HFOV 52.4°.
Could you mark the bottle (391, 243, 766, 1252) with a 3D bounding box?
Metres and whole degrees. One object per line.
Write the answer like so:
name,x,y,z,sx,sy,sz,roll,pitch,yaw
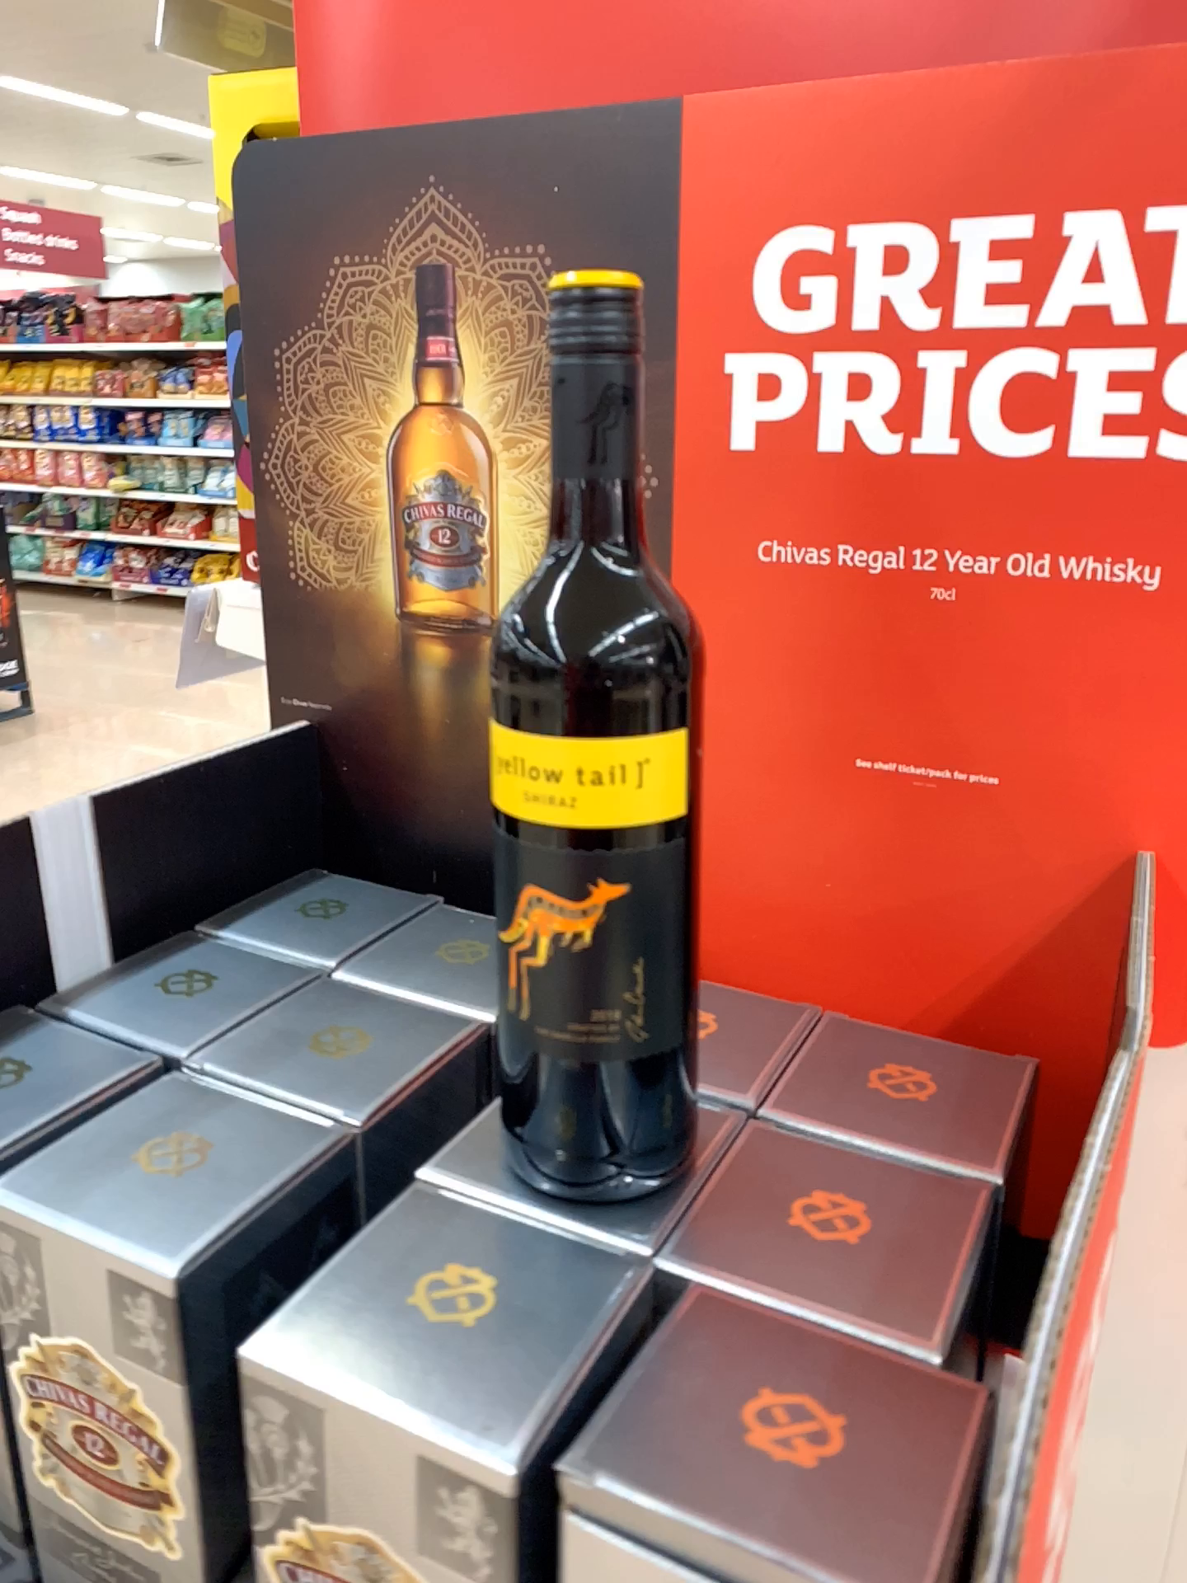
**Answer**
bottle,-0.003,-0.011,0.407,0.087,0.308,0.081,0,17,0
